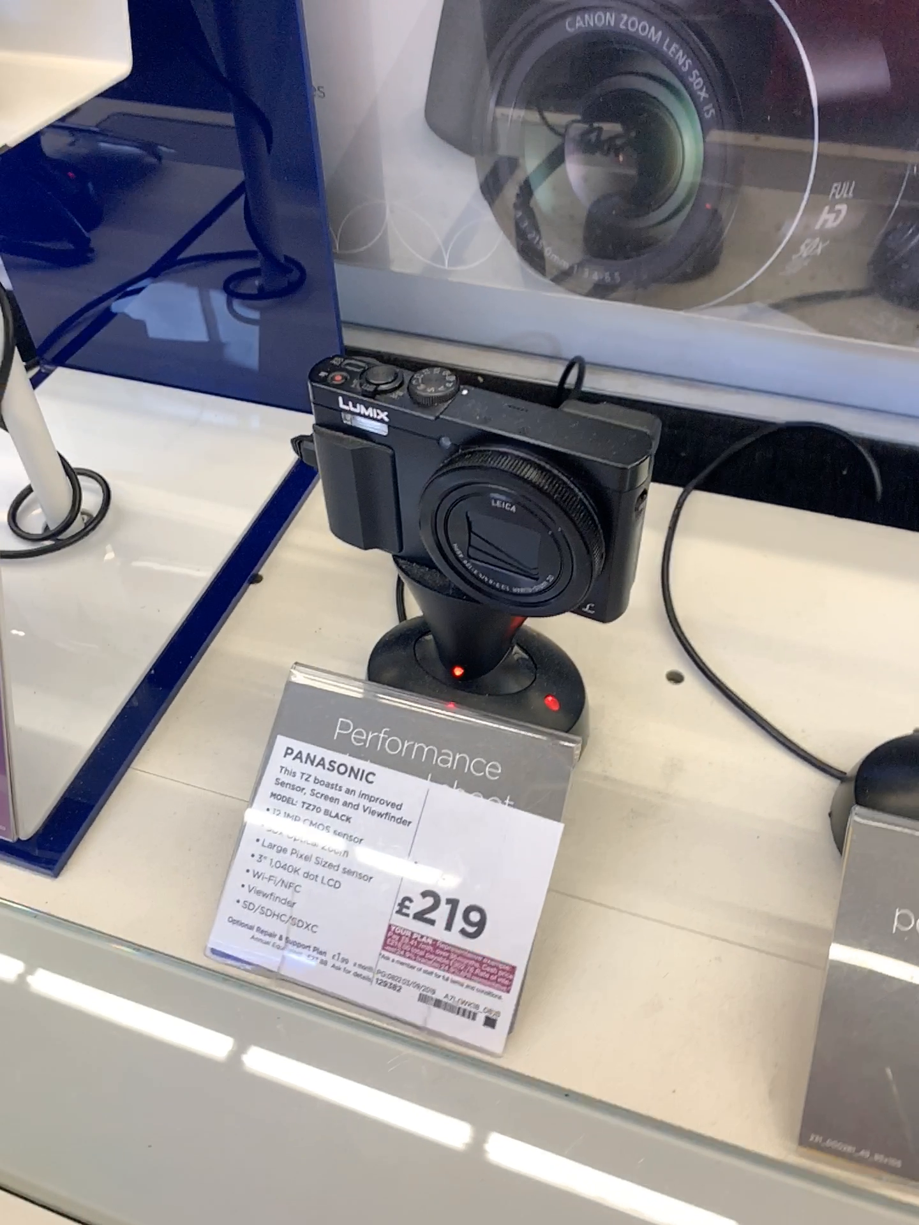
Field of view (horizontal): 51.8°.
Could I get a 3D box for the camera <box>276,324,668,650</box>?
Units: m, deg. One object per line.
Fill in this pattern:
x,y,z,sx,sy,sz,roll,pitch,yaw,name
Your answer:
0.002,-0.040,0.296,0.110,0.069,0.030,19,50,18,camera
